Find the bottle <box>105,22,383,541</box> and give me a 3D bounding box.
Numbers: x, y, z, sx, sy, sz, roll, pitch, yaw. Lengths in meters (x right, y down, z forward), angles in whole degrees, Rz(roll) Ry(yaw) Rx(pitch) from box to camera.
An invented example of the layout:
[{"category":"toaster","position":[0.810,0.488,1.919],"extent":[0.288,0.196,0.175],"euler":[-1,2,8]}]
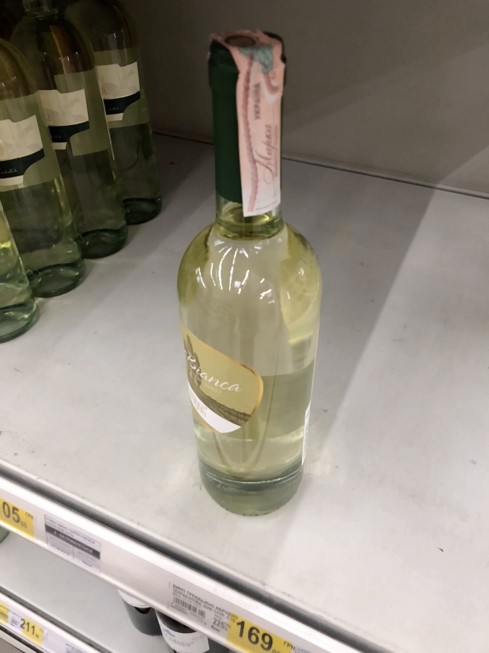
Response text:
[{"category":"bottle","position":[0.001,0.004,0.283],"extent":[0.070,0.269,0.070],"euler":[-1,44,1]}]
